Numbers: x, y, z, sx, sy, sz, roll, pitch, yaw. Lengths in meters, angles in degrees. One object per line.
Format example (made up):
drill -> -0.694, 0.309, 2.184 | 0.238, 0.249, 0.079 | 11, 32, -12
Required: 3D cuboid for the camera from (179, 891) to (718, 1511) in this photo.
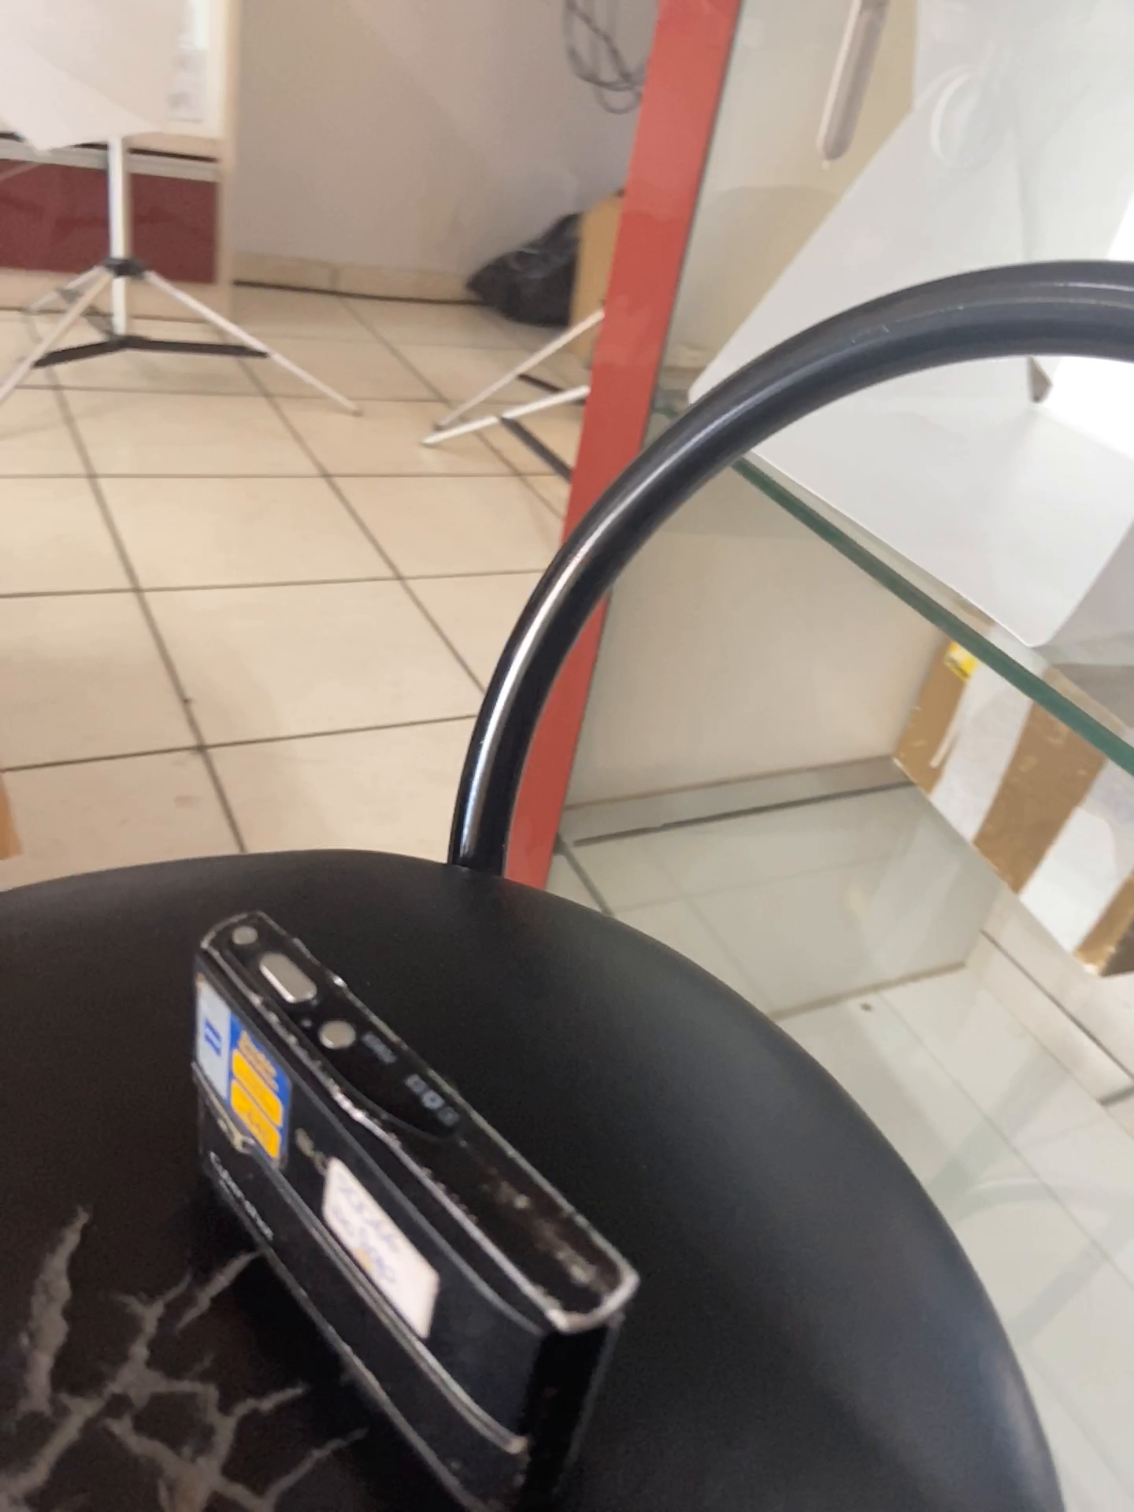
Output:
camera -> -0.027, 0.076, 0.189 | 0.100, 0.060, 0.020 | 35, 39, 31
